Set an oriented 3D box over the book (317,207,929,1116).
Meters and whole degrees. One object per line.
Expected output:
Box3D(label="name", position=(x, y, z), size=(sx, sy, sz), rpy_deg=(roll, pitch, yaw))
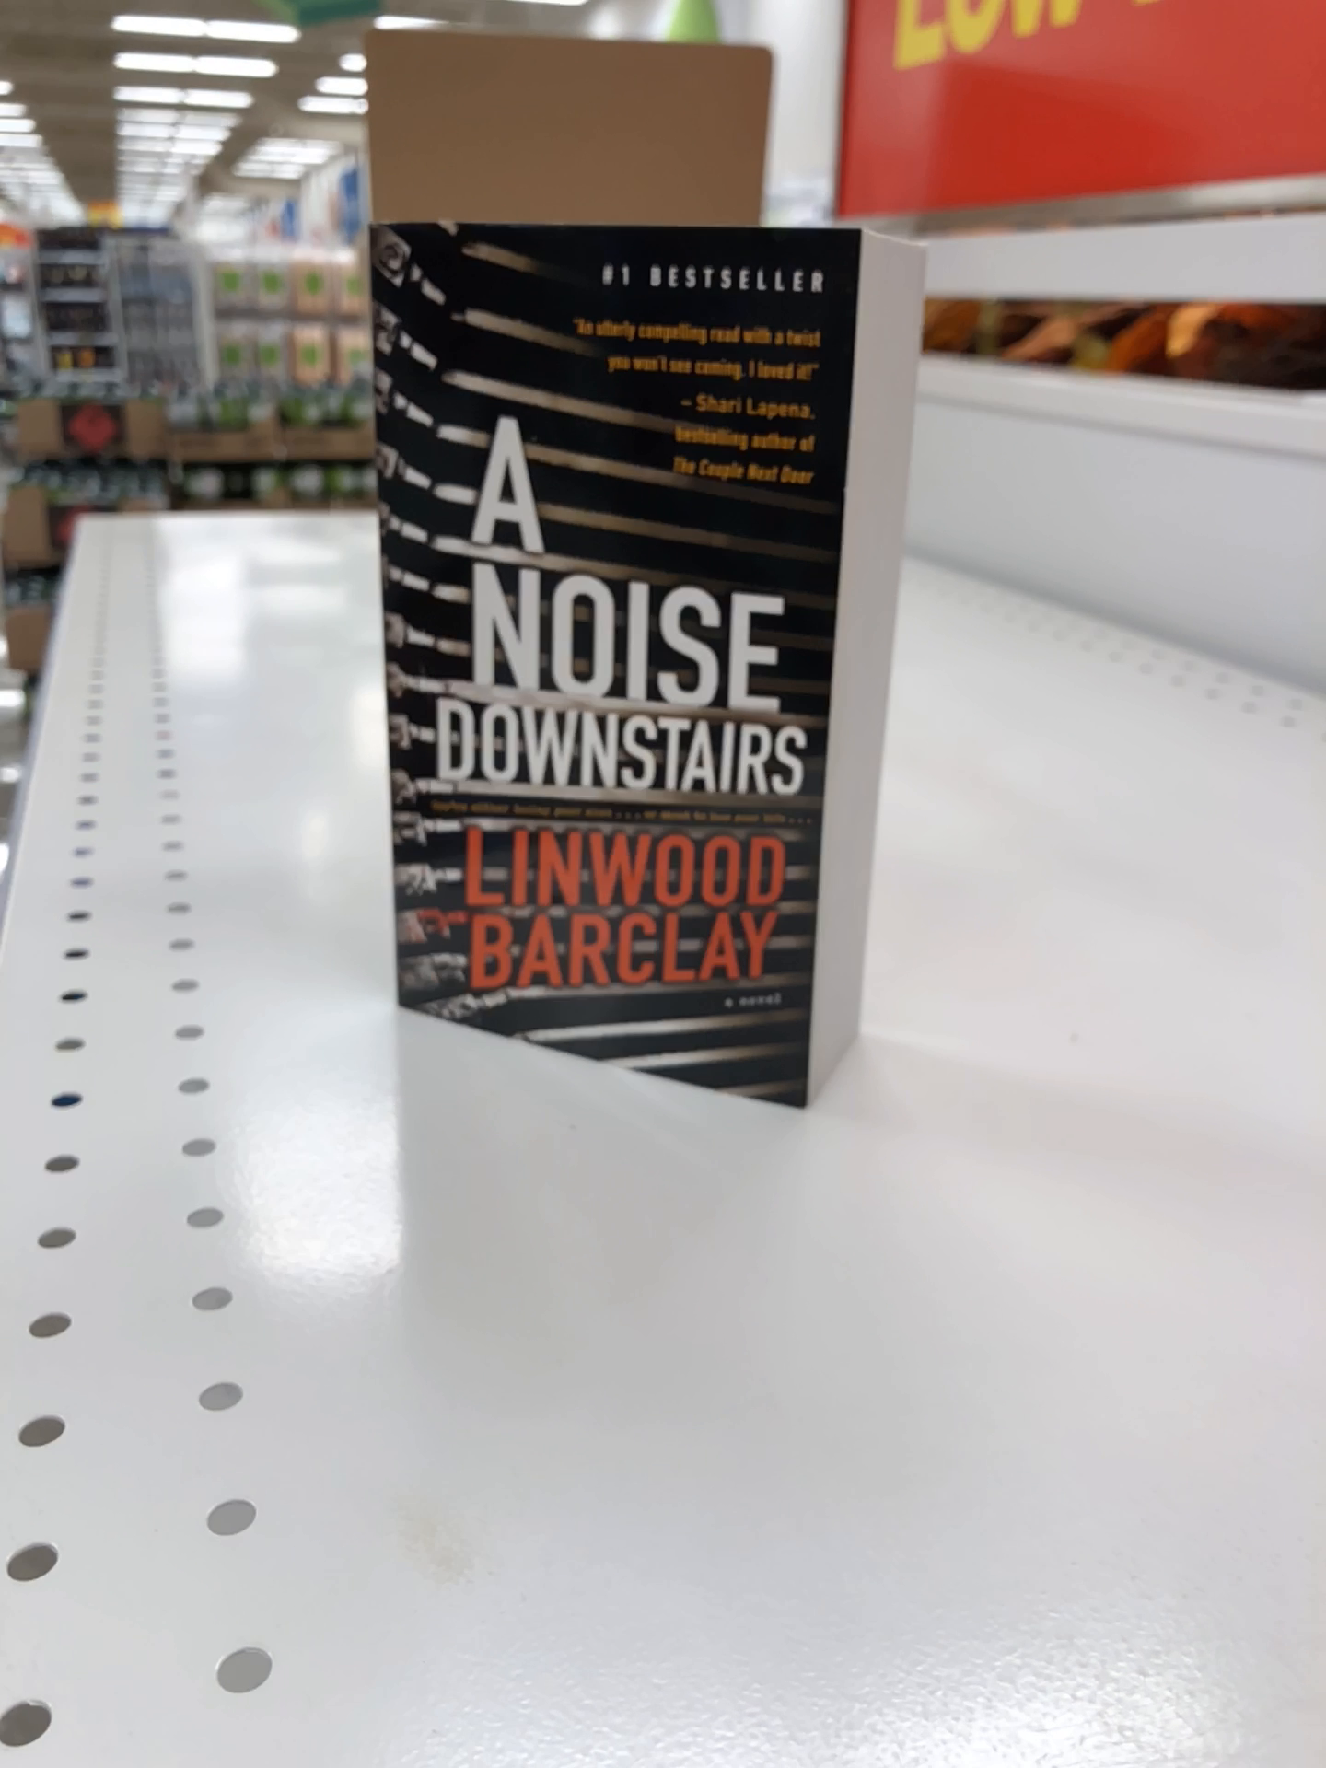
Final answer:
Box3D(label="book", position=(-0.010, -0.048, 0.315), size=(0.110, 0.170, 0.041), rpy_deg=(11, 24, 25))
